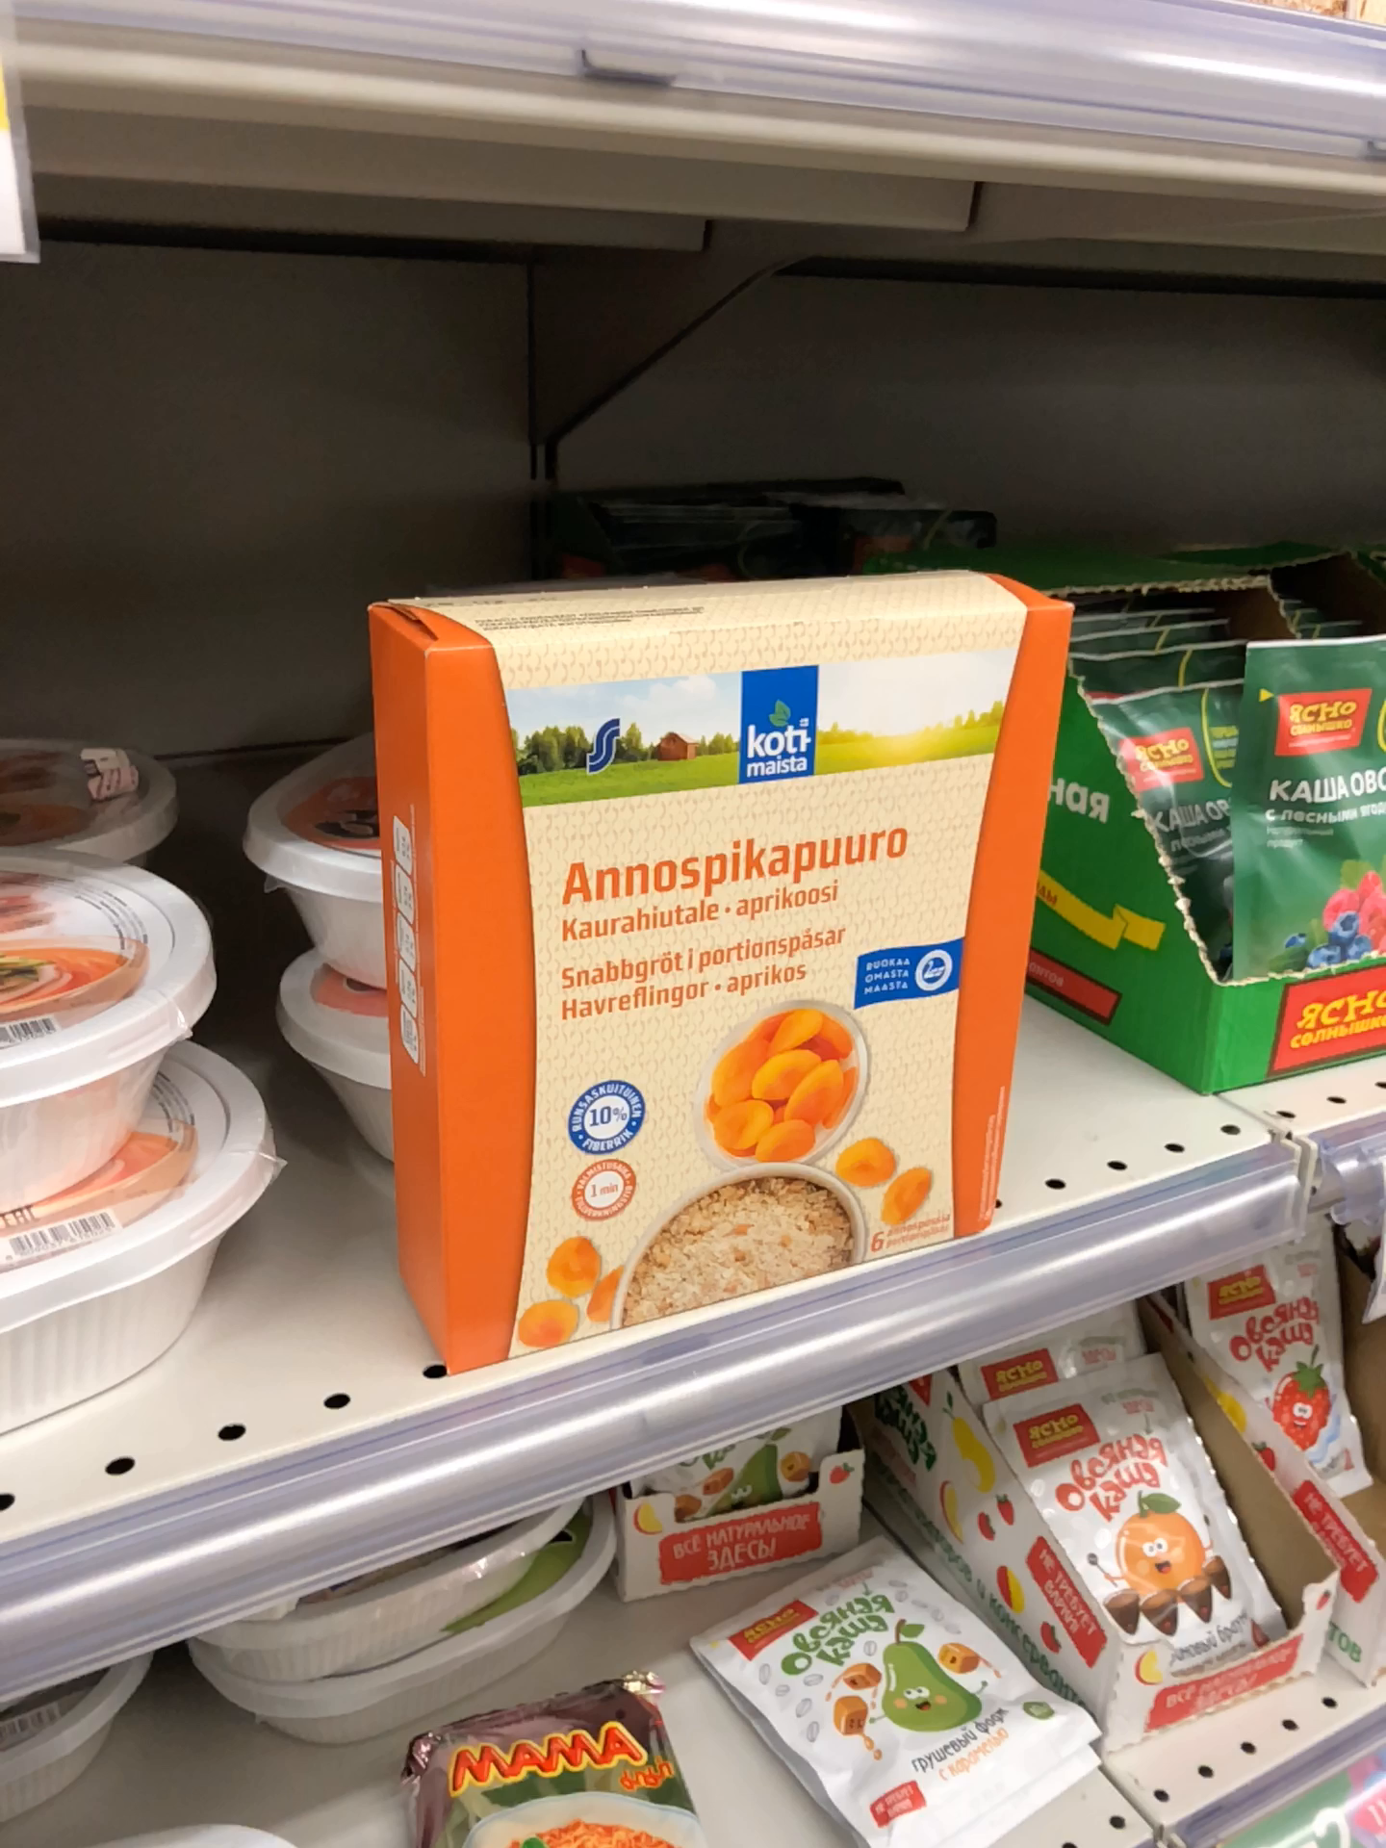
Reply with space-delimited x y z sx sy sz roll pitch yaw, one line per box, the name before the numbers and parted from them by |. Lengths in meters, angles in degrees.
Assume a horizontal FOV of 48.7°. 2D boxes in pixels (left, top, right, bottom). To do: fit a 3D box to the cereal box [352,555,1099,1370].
cereal box | 0.008 0.003 0.399 0.170 0.179 0.060 -8 23 -24
